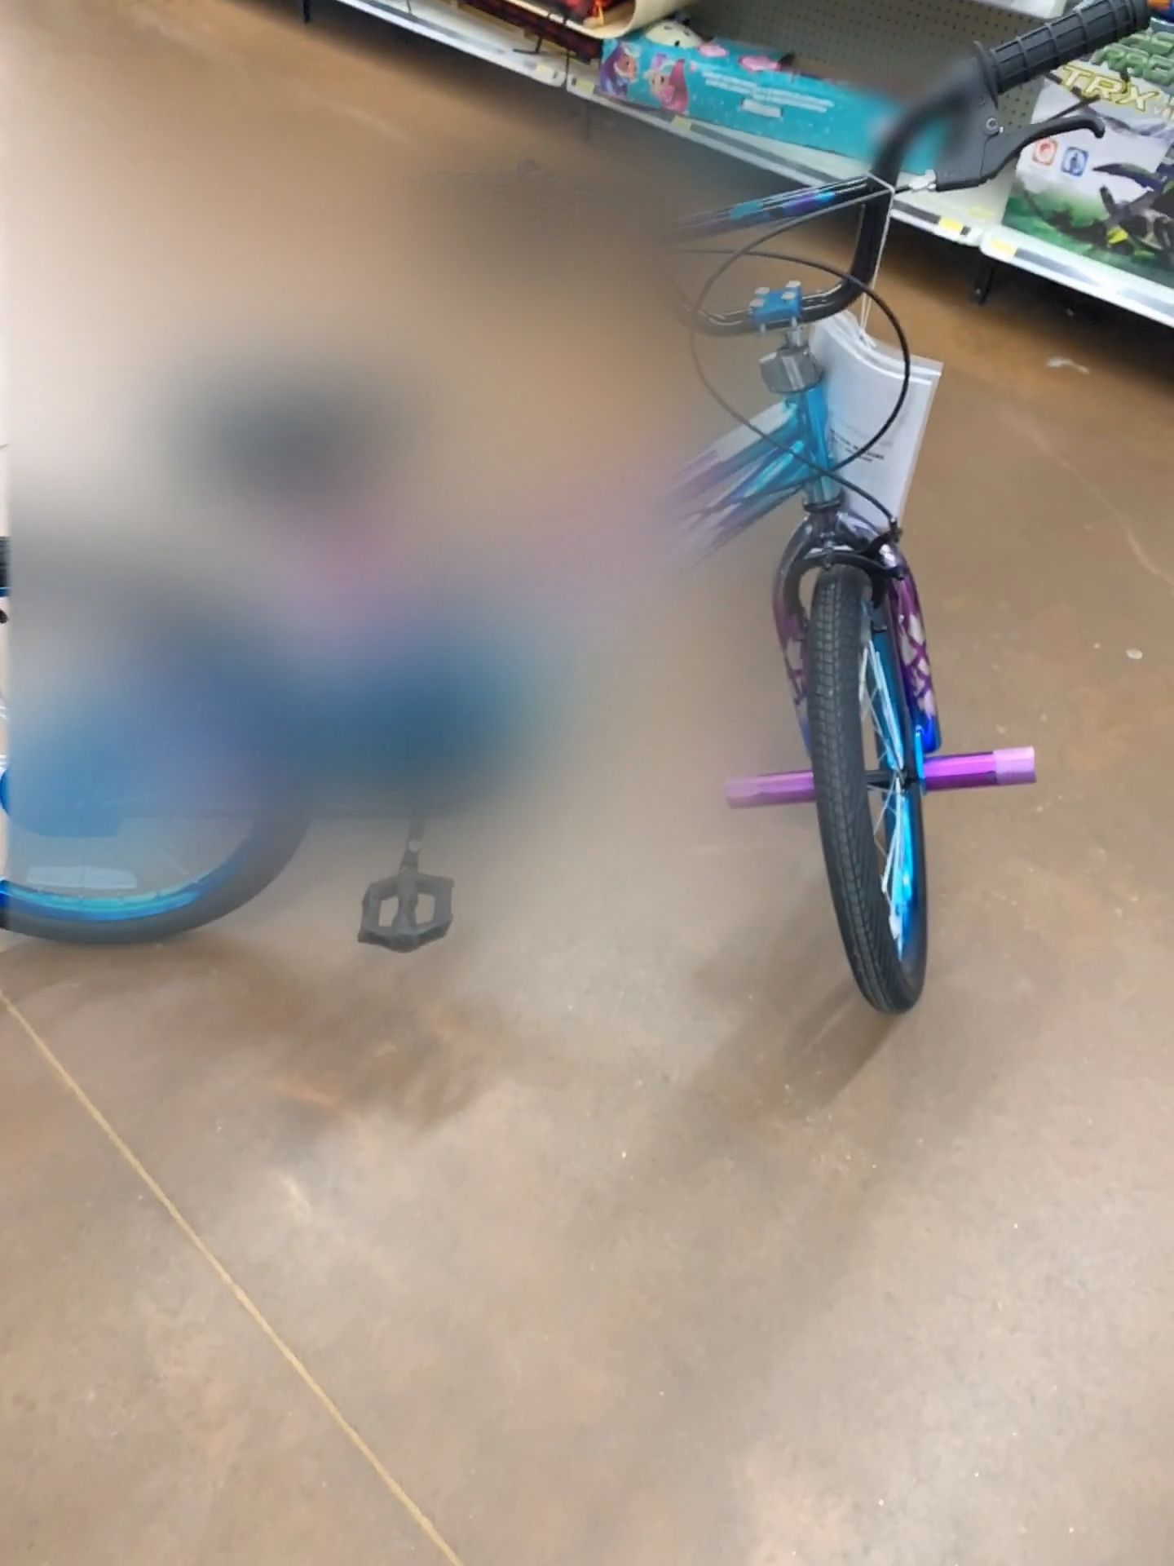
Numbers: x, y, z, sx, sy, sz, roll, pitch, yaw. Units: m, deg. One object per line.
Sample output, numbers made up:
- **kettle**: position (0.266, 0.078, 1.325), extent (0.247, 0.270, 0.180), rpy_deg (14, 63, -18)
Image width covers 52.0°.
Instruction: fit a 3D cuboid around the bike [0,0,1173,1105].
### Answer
- **bike**: position (-0.184, -0.304, 1.181), extent (1.120, 0.876, 0.623), rpy_deg (-7, 47, -12)
